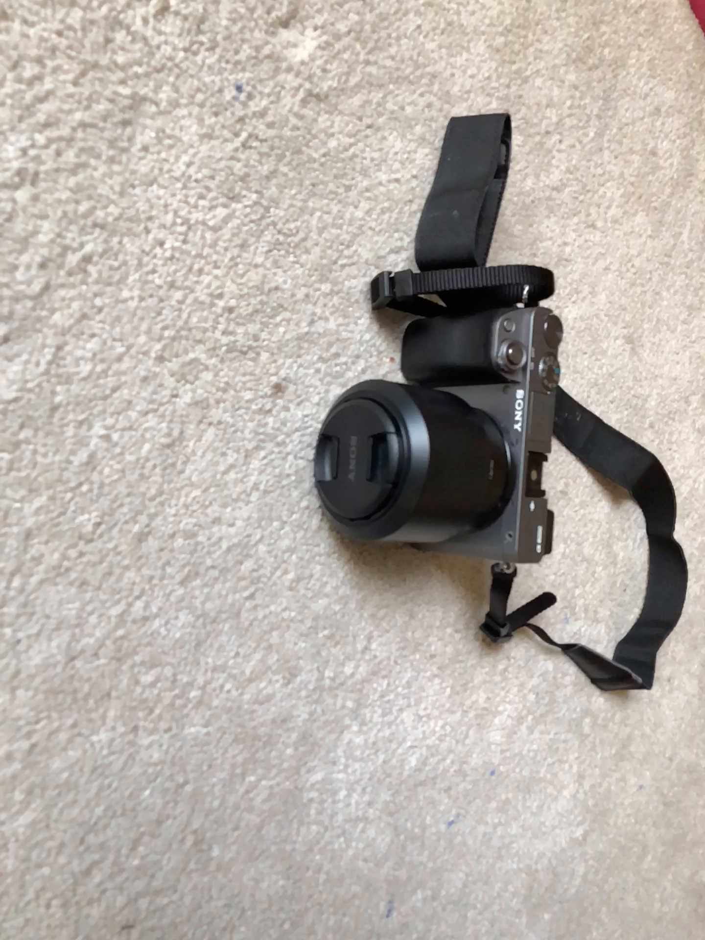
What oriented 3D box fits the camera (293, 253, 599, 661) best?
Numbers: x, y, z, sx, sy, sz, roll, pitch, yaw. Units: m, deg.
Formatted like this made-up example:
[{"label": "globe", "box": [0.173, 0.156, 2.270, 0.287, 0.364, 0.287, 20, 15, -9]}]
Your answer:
[{"label": "camera", "box": [0.043, -0.003, 0.328, 0.111, 0.070, 0.140, 3, 88, -44]}]
